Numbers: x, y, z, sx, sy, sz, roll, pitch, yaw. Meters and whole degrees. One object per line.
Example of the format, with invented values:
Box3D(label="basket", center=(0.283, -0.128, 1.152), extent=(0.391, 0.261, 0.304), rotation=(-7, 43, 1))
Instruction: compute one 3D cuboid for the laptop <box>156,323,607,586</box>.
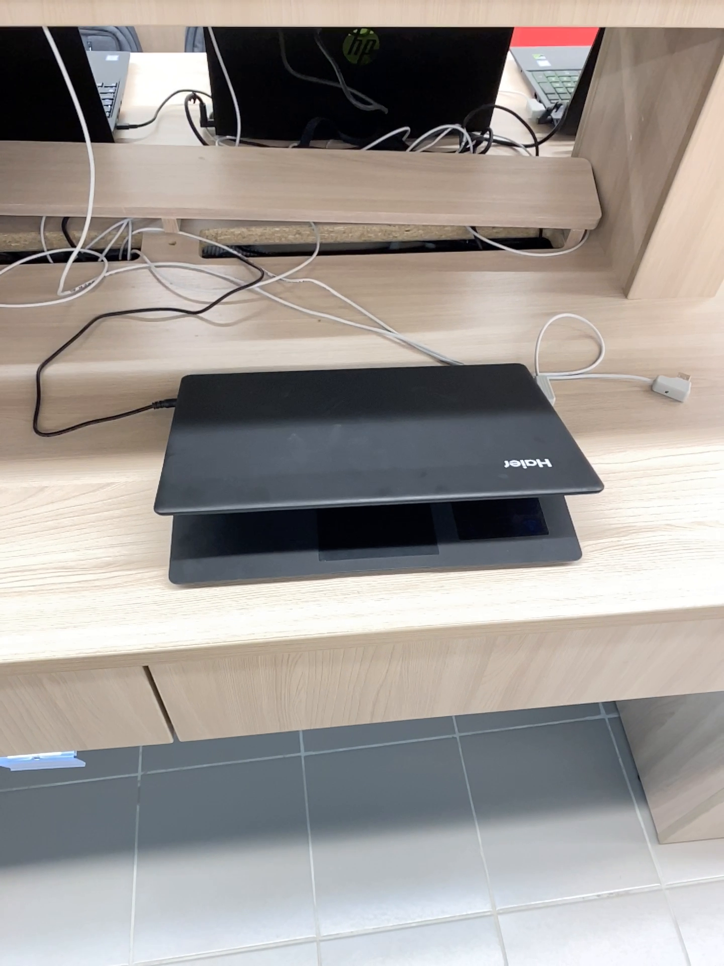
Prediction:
Box3D(label="laptop", center=(0.008, -0.032, 0.607), extent=(0.319, 0.072, 0.202), rotation=(-3, 52, -5))
